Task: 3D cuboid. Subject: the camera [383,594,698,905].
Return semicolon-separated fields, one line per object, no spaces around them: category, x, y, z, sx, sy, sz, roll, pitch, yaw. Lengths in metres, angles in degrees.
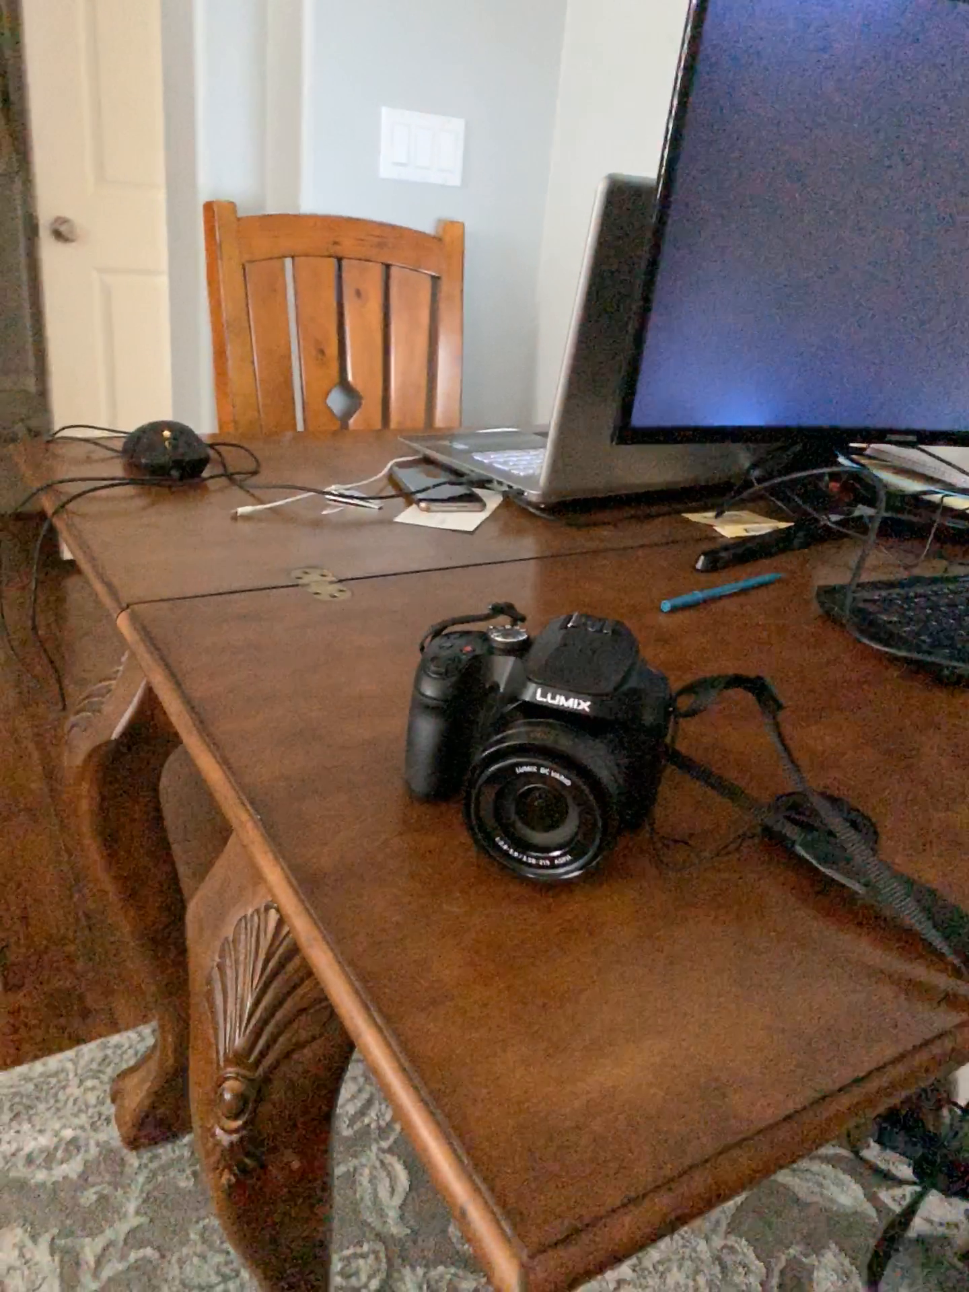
camera;0.031;0.045;0.501;0.130;0.089;0.111;11;24;11
